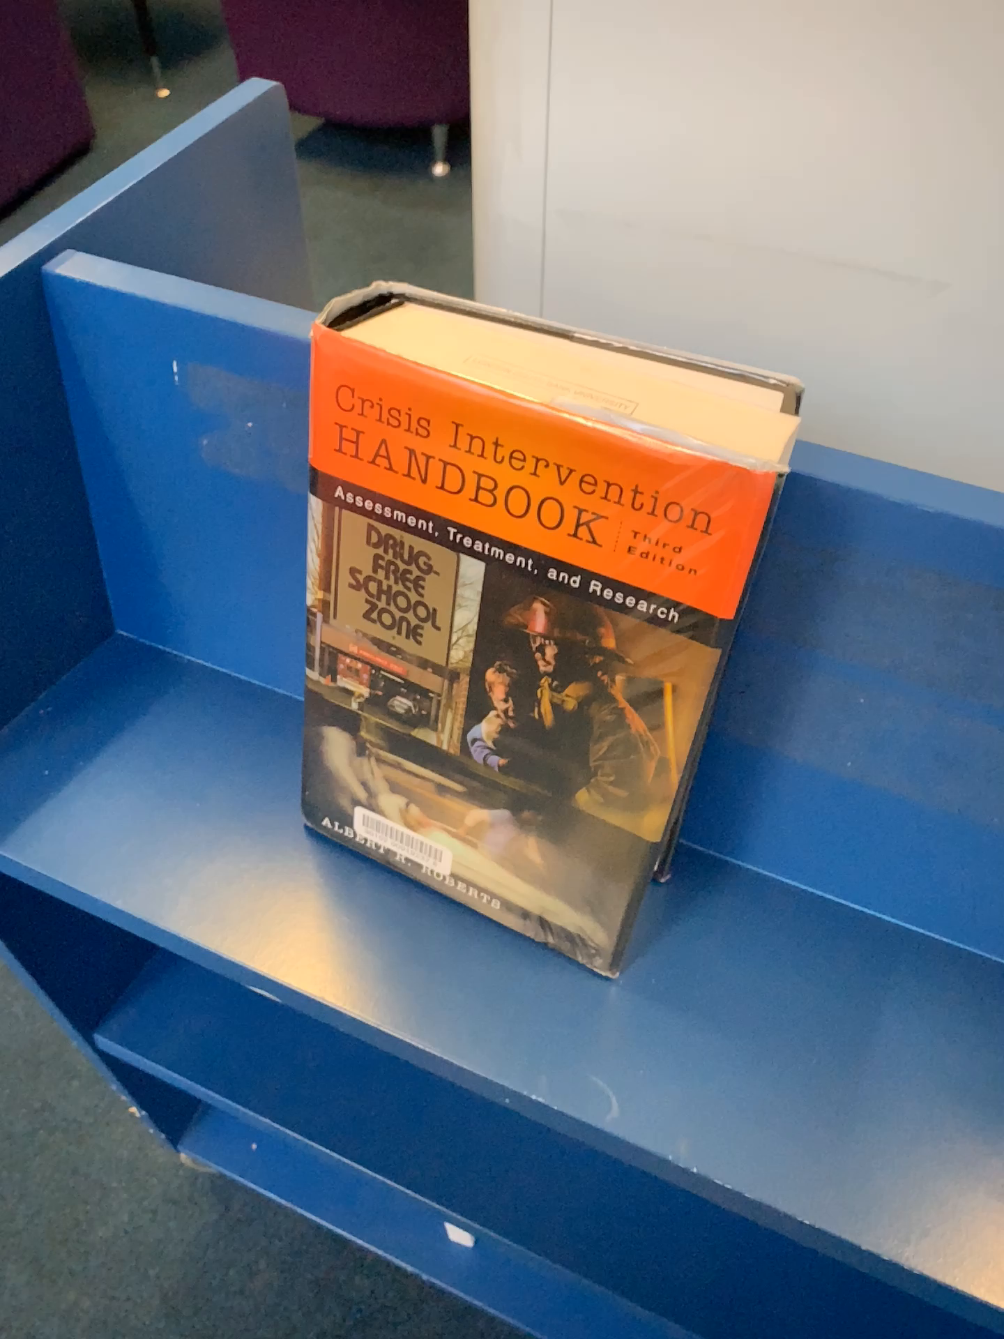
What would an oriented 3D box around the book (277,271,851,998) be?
[{"bbox_3d":[0.007,-0.010,0.420,0.180,0.238,0.080,22,38,17],"label":"book"}]
